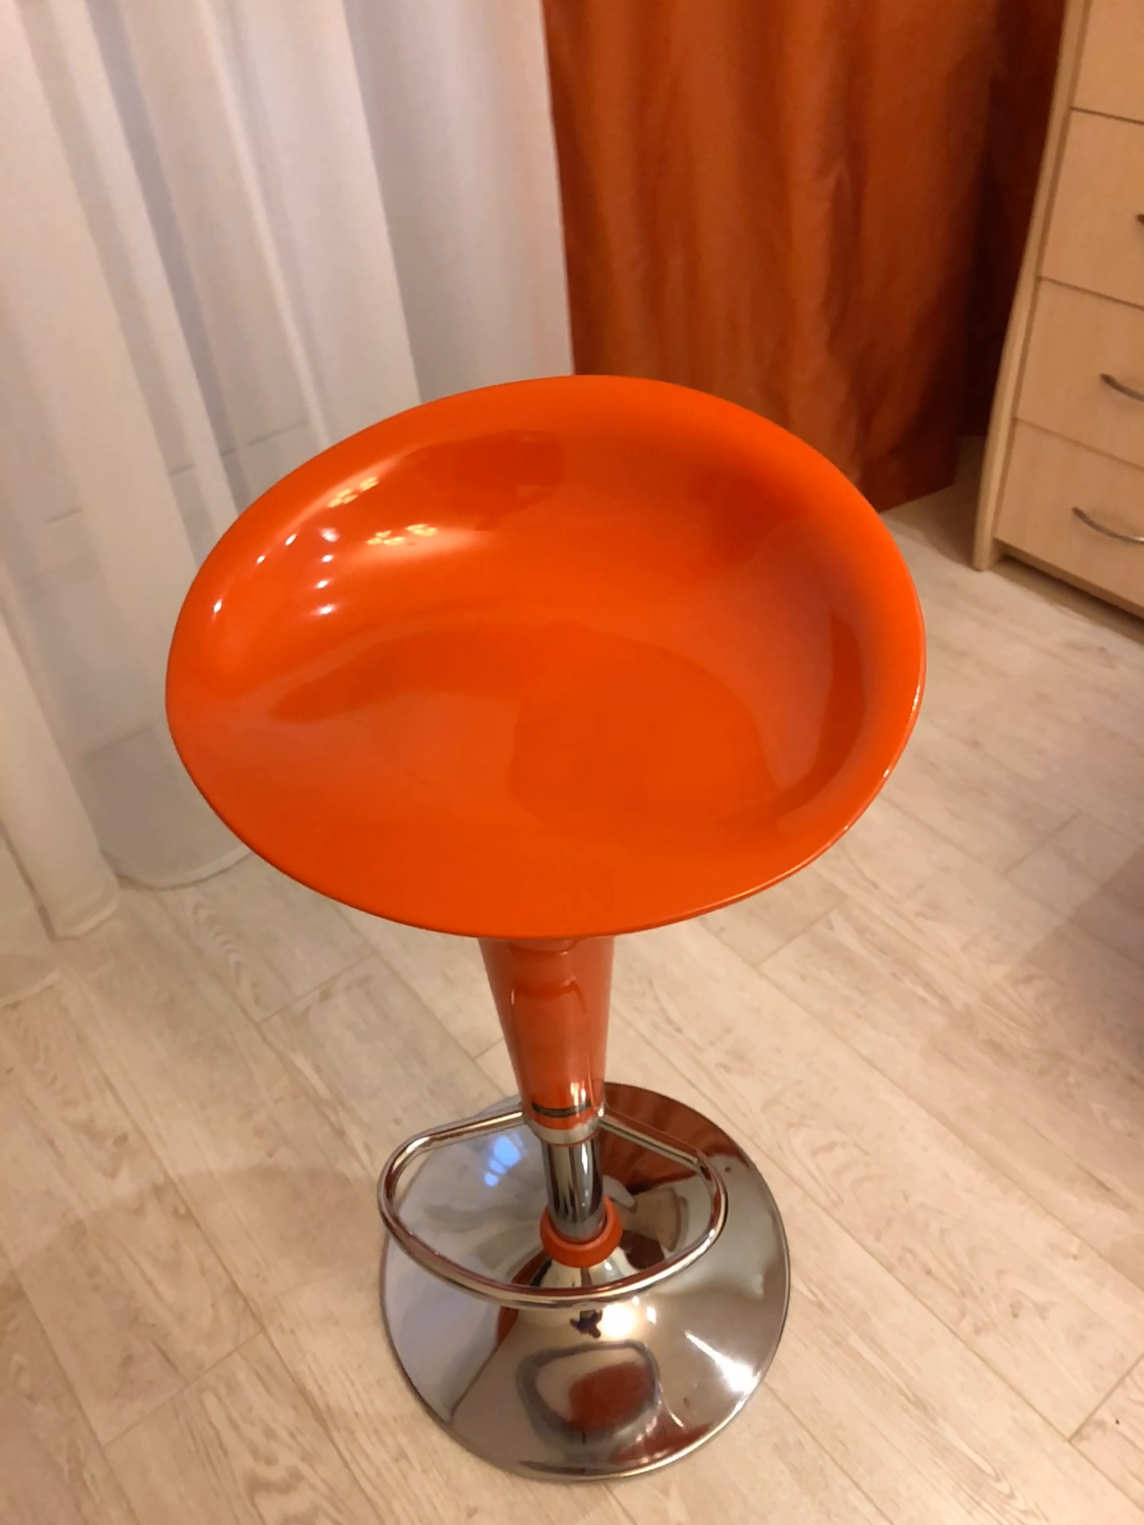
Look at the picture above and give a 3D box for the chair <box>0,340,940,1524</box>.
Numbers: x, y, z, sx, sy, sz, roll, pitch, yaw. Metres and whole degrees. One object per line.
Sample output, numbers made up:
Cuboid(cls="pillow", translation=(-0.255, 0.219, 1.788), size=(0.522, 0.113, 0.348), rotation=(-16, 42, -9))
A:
Cuboid(cls="chair", translation=(-0.011, 0.164, 0.830), size=(0.400, 0.735, 0.393), rotation=(6, 43, 12))
